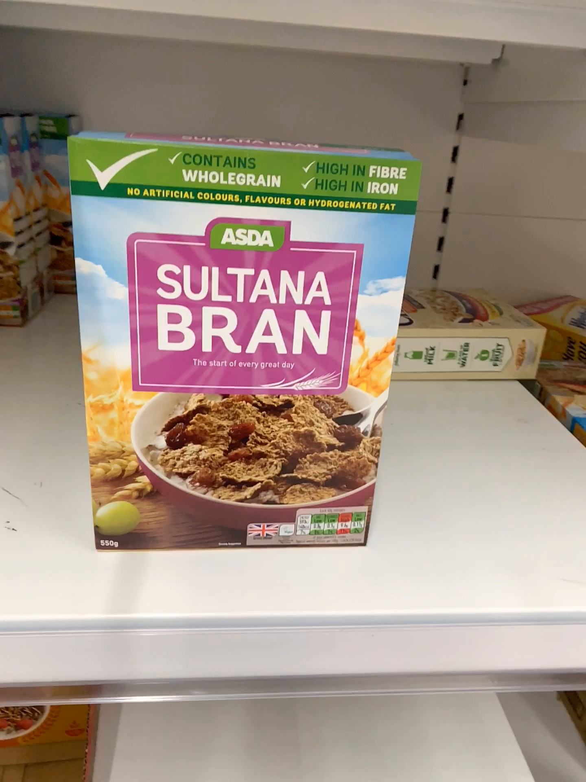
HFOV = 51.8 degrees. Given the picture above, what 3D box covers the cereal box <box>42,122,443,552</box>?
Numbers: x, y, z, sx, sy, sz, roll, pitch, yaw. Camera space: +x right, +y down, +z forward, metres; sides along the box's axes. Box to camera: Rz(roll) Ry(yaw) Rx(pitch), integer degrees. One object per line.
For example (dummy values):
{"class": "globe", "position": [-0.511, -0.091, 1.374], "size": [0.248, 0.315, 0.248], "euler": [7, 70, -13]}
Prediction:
{"class": "cereal box", "position": [-0.035, -0.025, 0.403], "size": [0.210, 0.268, 0.071], "euler": [1, 24, -7]}
